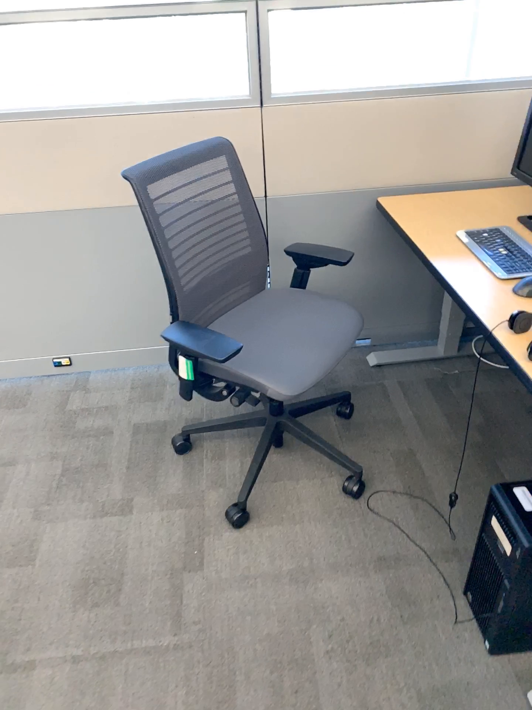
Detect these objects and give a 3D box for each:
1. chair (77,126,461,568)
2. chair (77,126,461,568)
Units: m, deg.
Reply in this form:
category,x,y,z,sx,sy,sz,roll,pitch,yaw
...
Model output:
category,x,y,z,sx,sy,sz,roll,pitch,yaw
chair,0.060,-0.088,1.844,0.802,1.083,0.772,18,39,28
chair,0.060,-0.088,1.844,0.802,1.083,0.772,18,39,28
